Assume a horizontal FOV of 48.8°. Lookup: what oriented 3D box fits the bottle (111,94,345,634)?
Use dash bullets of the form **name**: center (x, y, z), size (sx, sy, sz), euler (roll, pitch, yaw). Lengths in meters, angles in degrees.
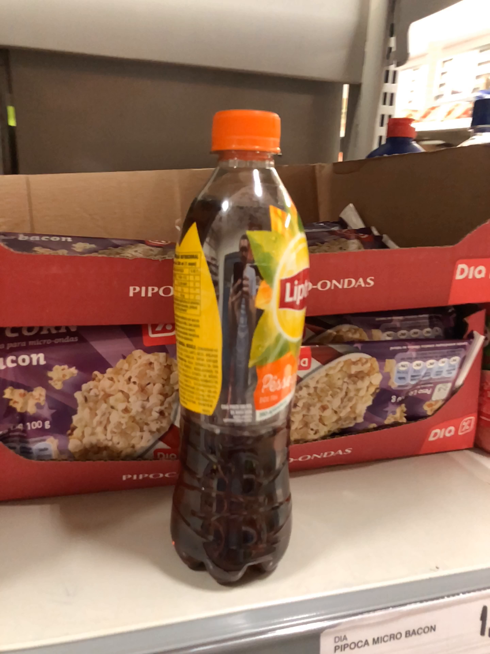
- **bottle**: center (-0.008, 0.015, 0.251), size (0.070, 0.219, 0.070), euler (2, 17, -1)
